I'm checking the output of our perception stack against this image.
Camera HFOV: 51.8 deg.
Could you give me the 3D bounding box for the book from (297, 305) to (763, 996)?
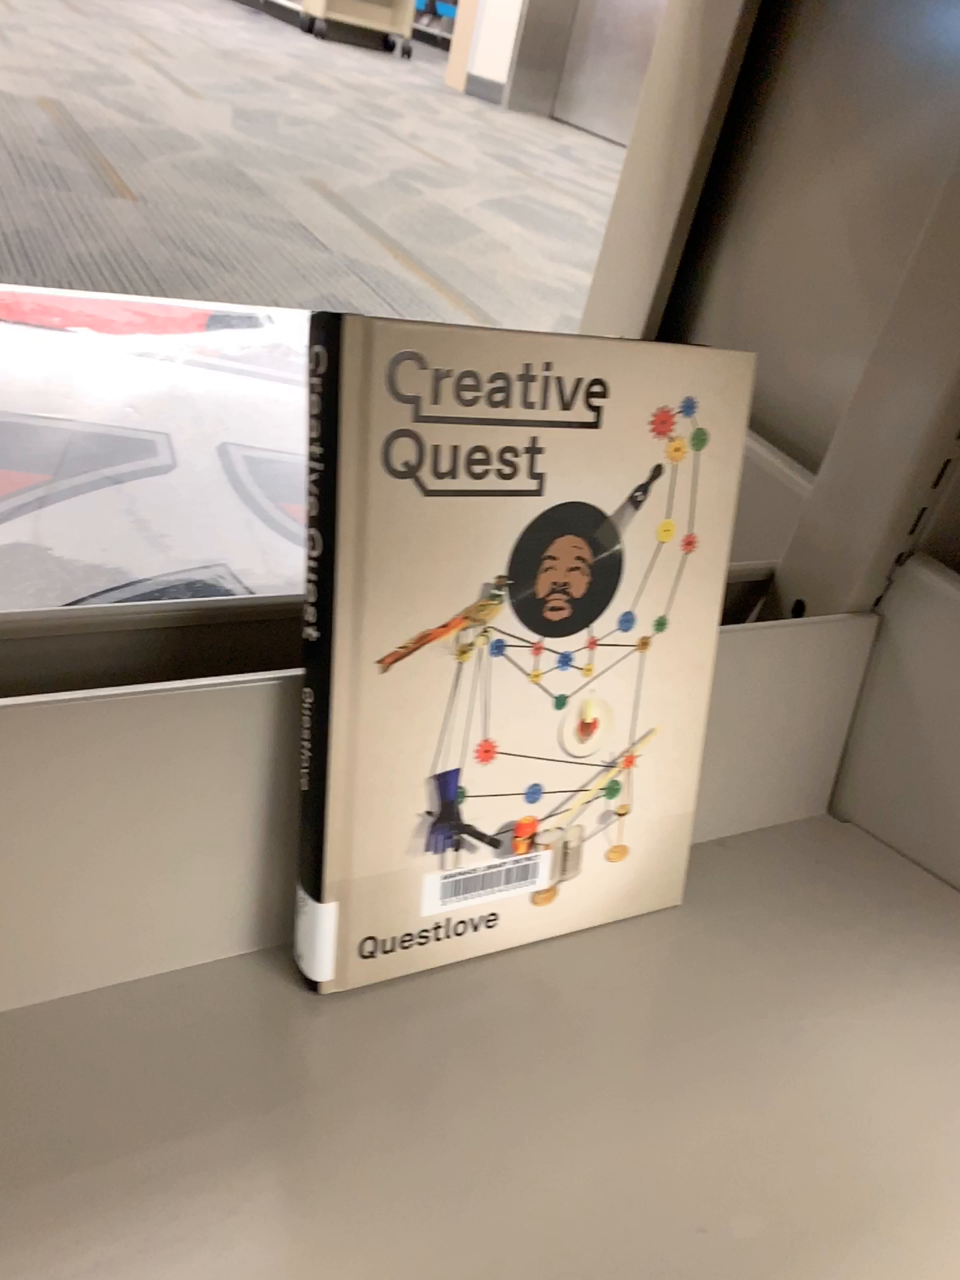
[{"bbox_3d":[0.018,0.003,0.358,0.160,0.223,0.031,-5,17,-29],"label":"book"}]
